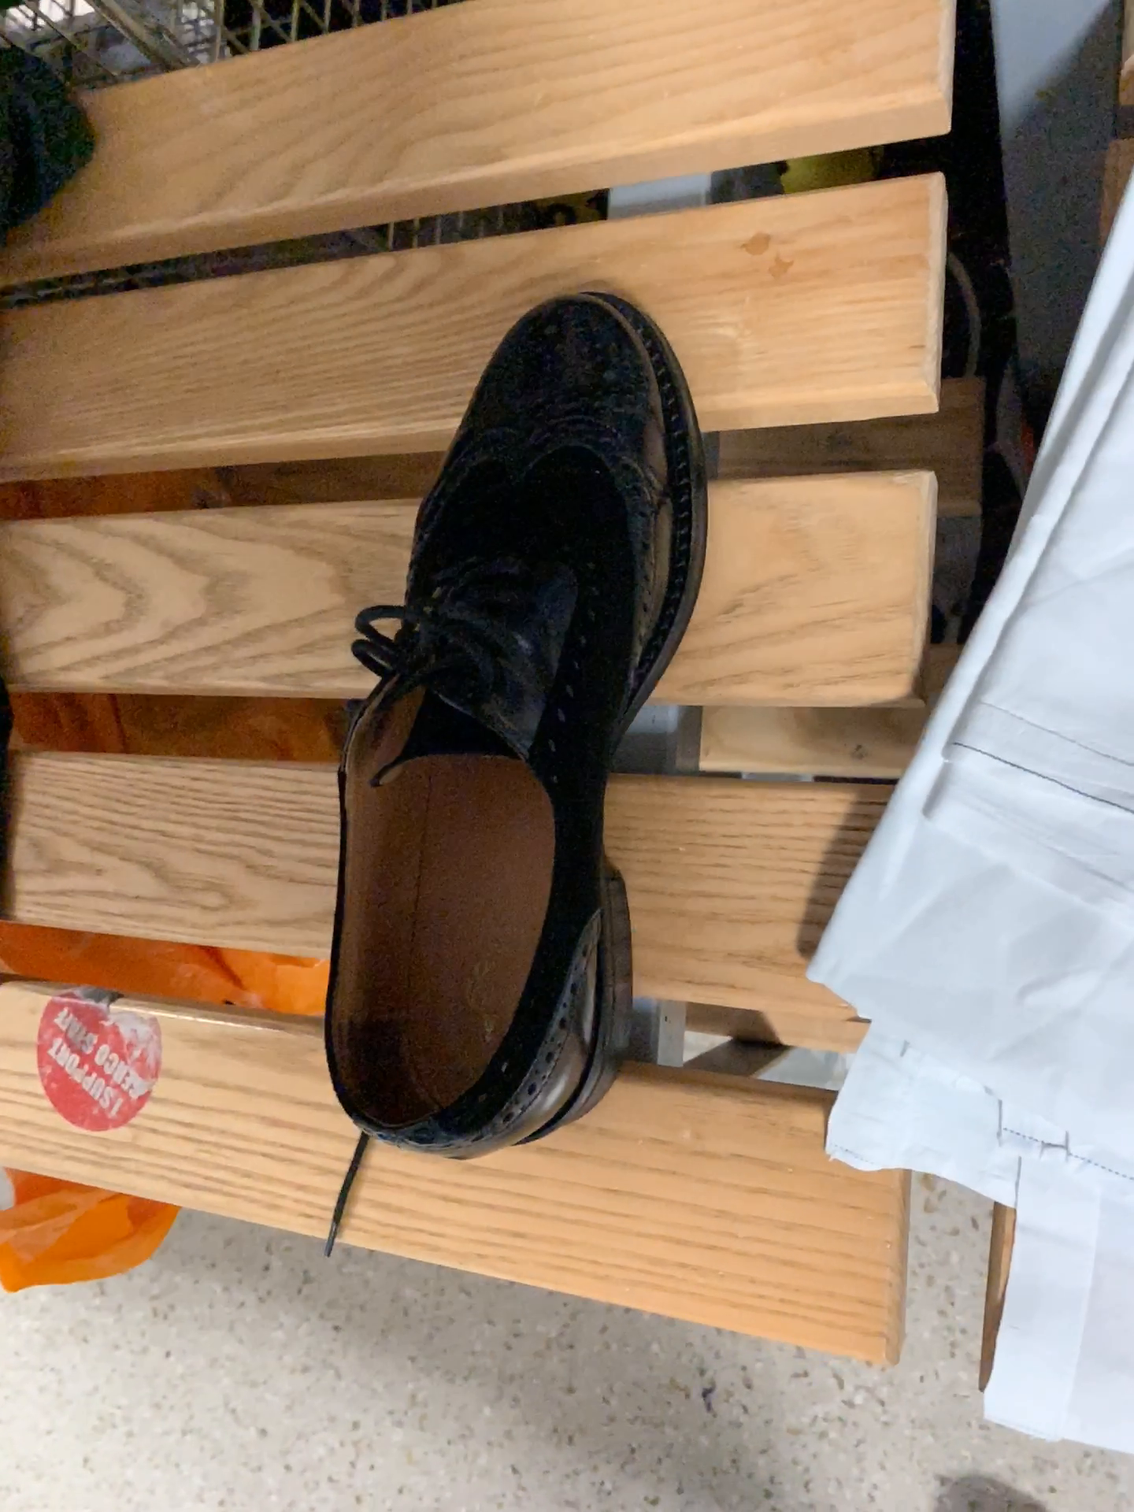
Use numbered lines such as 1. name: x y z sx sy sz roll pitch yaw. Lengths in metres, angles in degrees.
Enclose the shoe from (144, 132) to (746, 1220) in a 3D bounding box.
1. shoe: -0.026 -0.022 0.327 0.100 0.095 0.250 7 86 23
